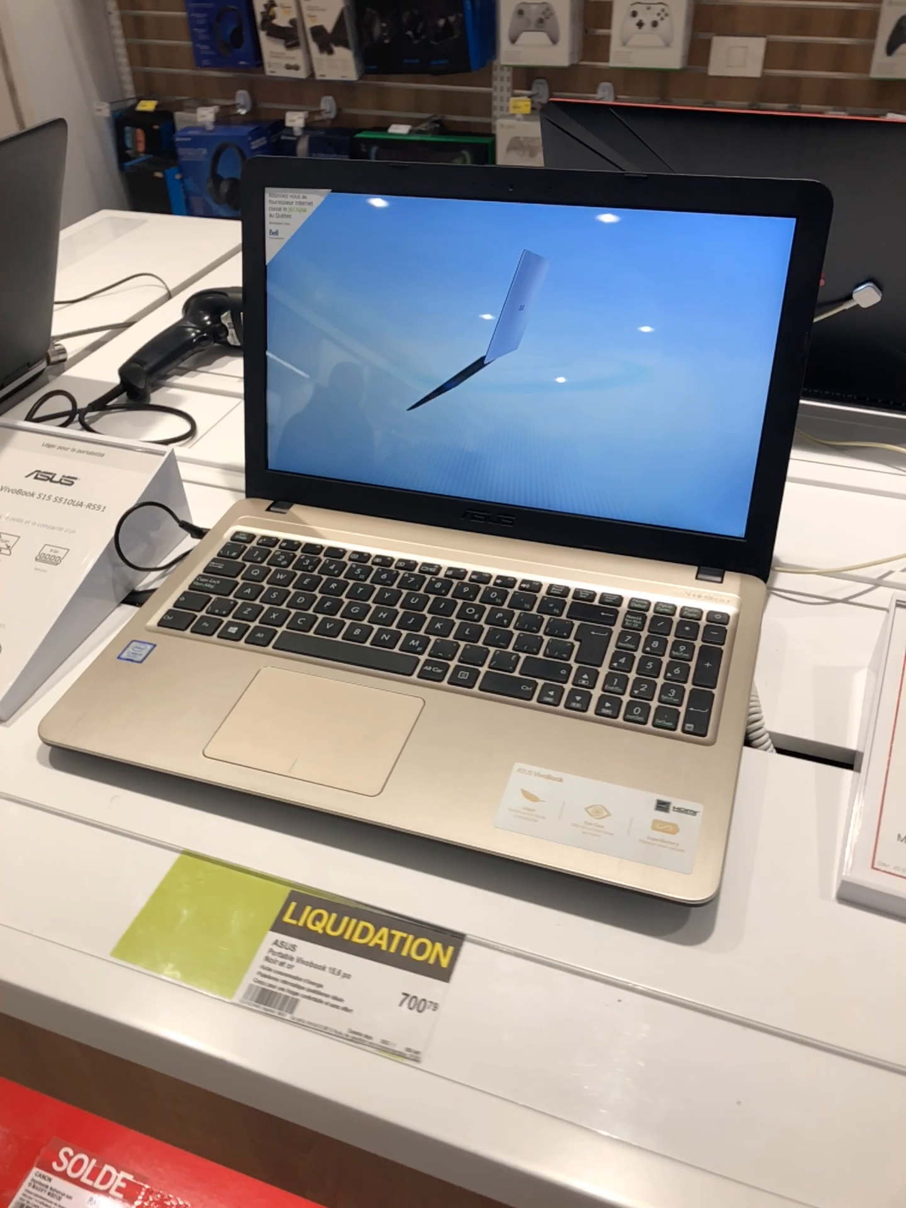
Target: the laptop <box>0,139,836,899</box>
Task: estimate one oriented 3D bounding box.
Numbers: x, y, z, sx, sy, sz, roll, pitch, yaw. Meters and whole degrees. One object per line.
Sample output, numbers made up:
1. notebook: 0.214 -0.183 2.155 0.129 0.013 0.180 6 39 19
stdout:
1. laptop: -0.004 -0.088 0.570 0.370 0.204 0.339 11 43 16
